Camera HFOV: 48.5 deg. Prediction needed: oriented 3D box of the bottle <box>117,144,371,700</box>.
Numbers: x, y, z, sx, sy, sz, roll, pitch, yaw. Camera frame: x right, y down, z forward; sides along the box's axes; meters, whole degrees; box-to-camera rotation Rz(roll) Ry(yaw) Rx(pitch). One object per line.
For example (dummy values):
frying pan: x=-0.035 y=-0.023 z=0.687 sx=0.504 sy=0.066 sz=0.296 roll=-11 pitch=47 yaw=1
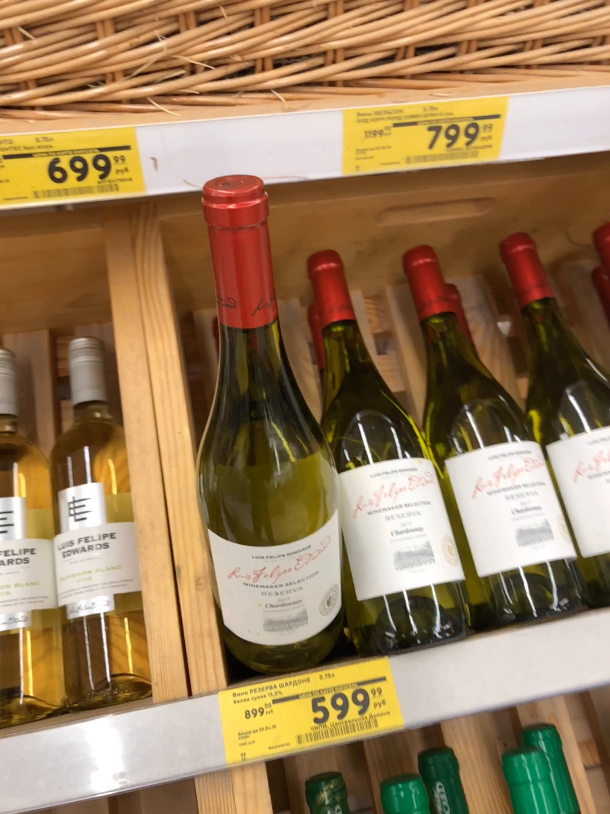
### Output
bottle: x=-0.025 y=0.017 z=0.379 sx=0.100 sy=0.289 sz=0.100 roll=-2 pitch=29 yaw=1
